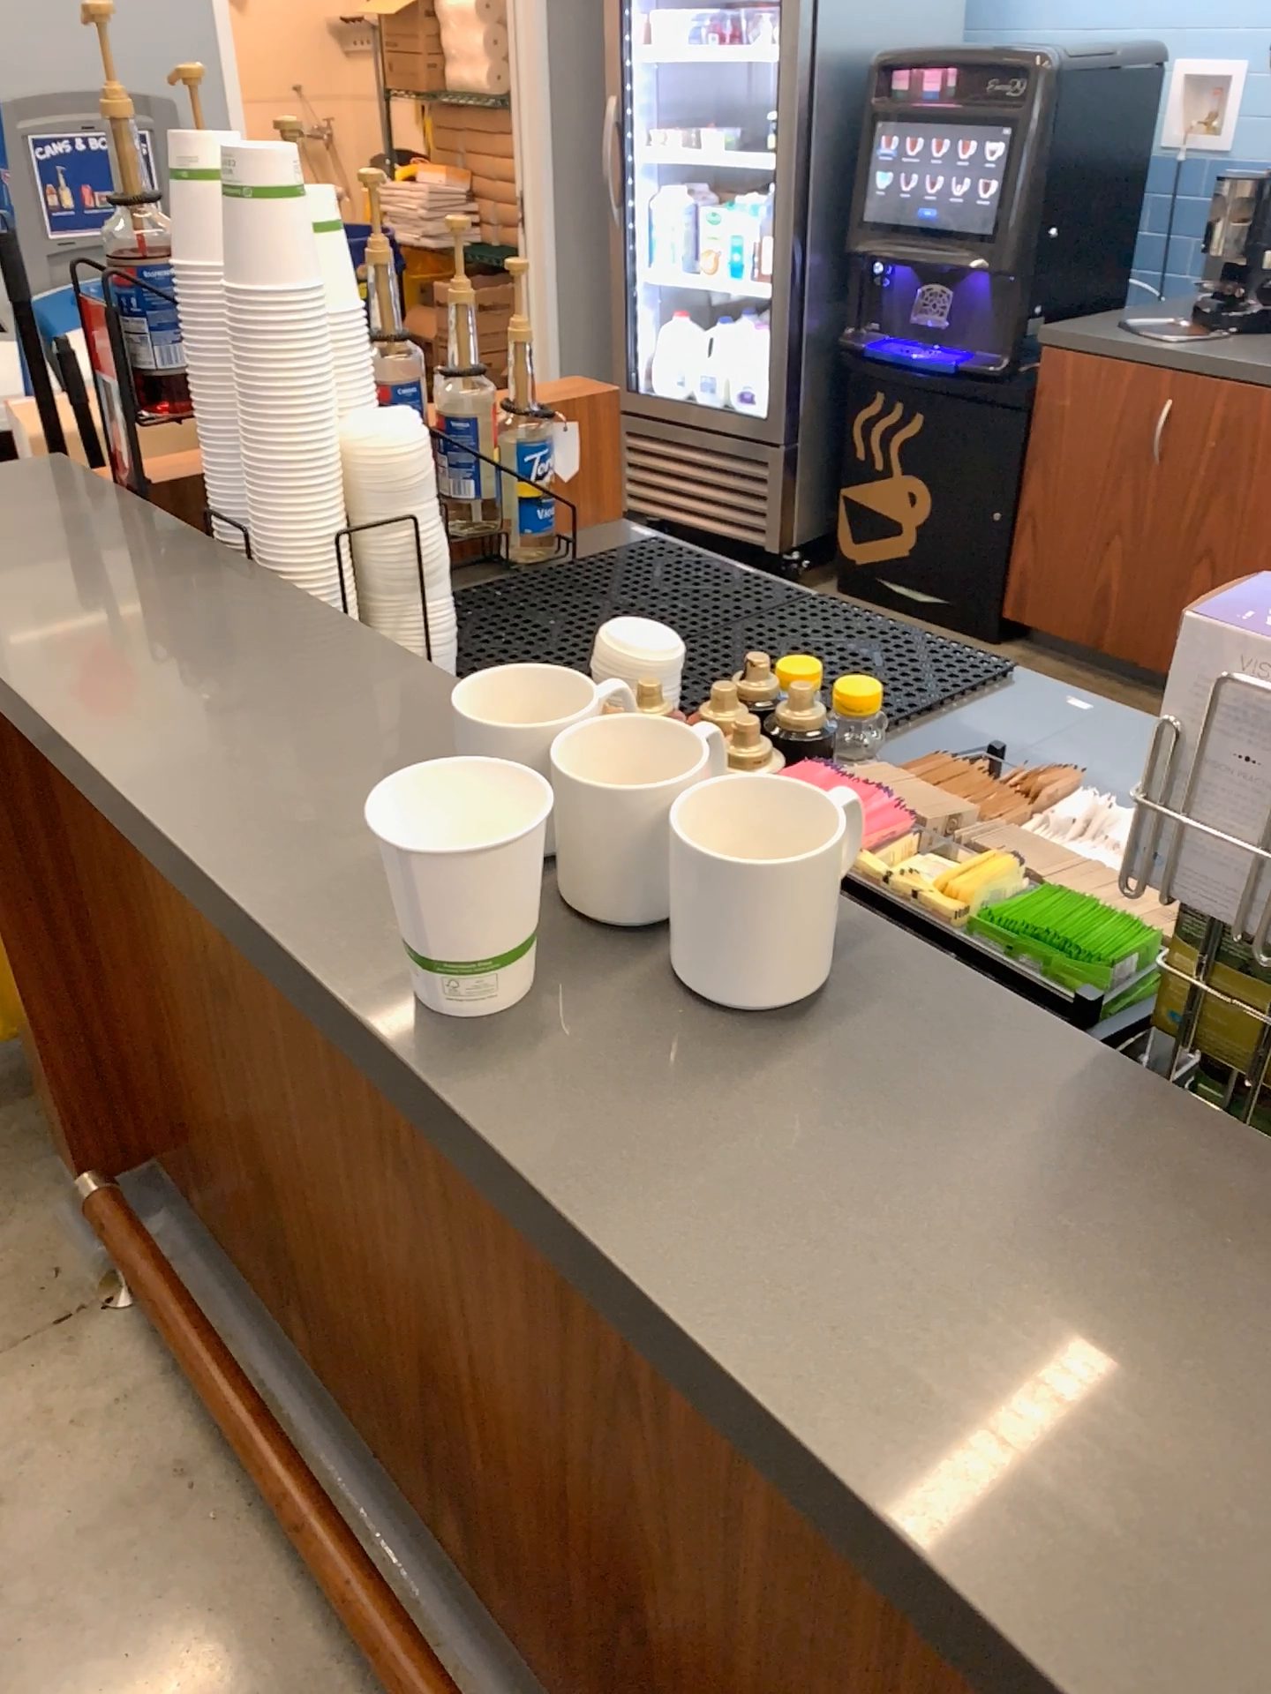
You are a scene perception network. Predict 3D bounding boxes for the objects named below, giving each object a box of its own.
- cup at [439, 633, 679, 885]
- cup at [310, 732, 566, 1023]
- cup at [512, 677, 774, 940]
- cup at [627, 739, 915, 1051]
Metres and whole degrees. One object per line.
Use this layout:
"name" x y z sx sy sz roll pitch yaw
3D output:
"cup" -0.045 -0.057 0.791 0.110 0.099 0.090 -20 37 -29
"cup" -0.093 0.013 0.644 0.090 0.099 0.090 0 32 0
"cup" 0.004 -0.025 0.728 0.110 0.089 0.090 -20 37 -29
"cup" 0.067 0.021 0.670 0.110 0.099 0.090 -22 37 -30
